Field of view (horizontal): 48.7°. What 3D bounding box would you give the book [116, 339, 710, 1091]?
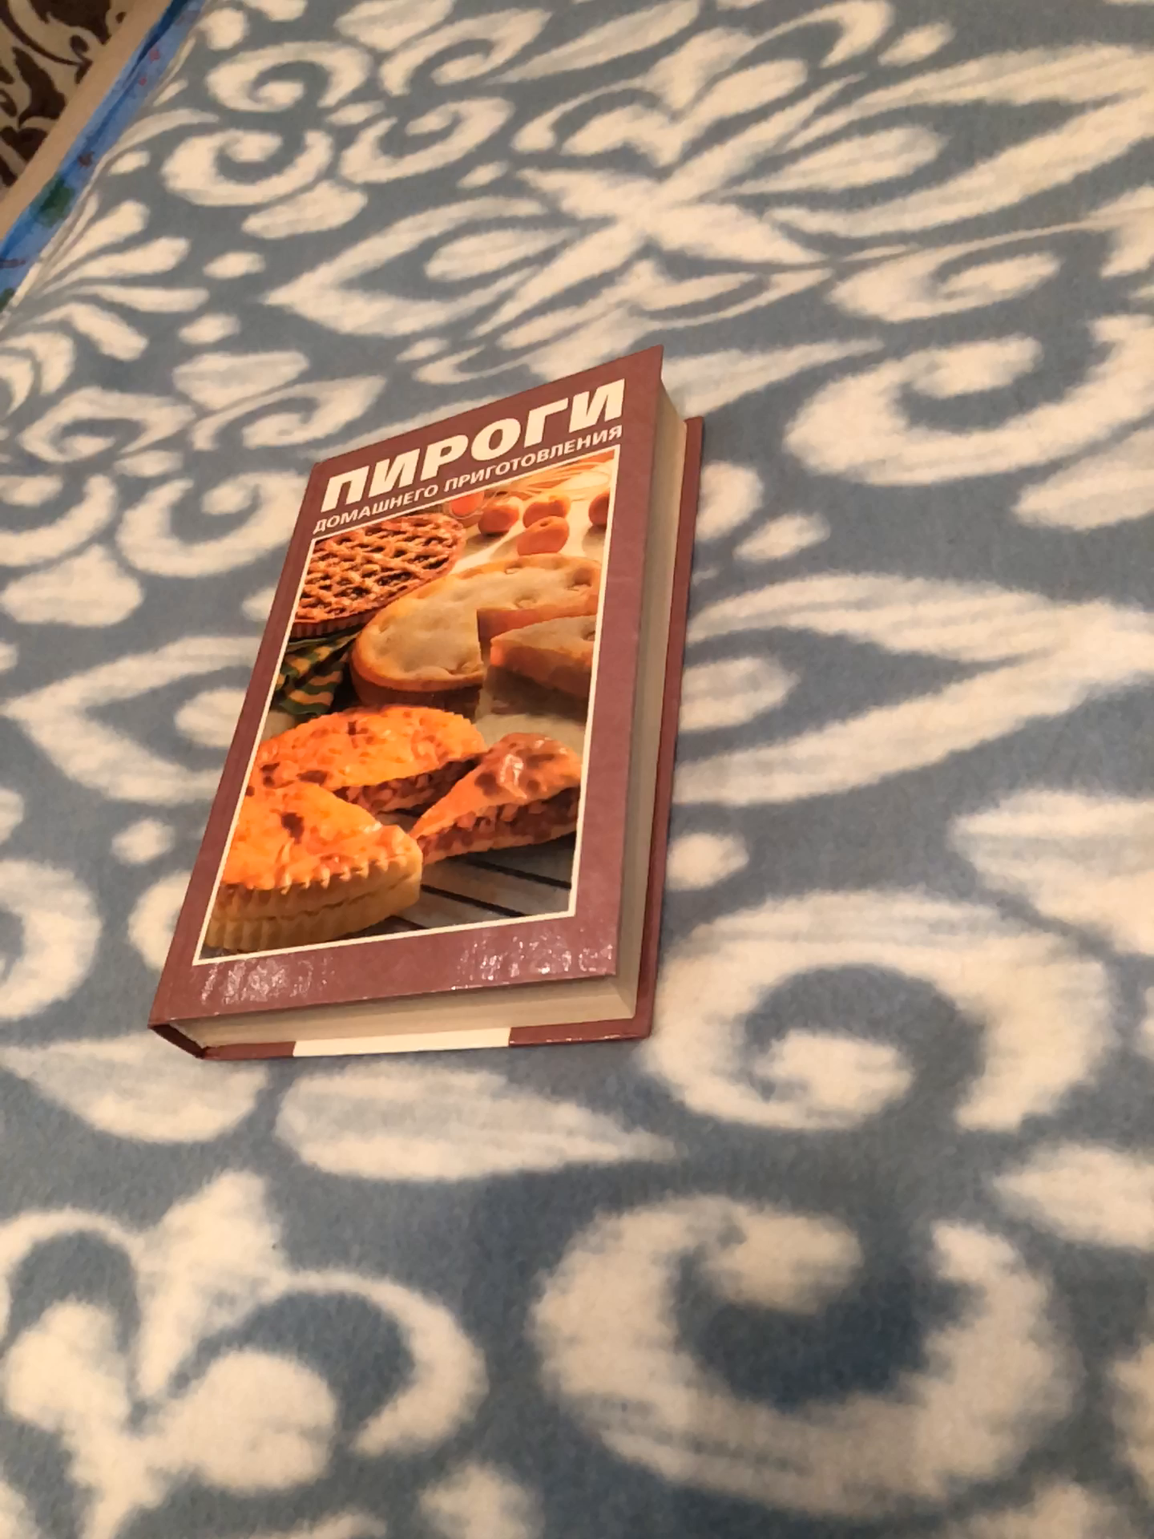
[{"bbox_3d":[-0.036,-0.019,0.354,0.131,0.040,0.201,-10,54,25],"label":"book"}]
